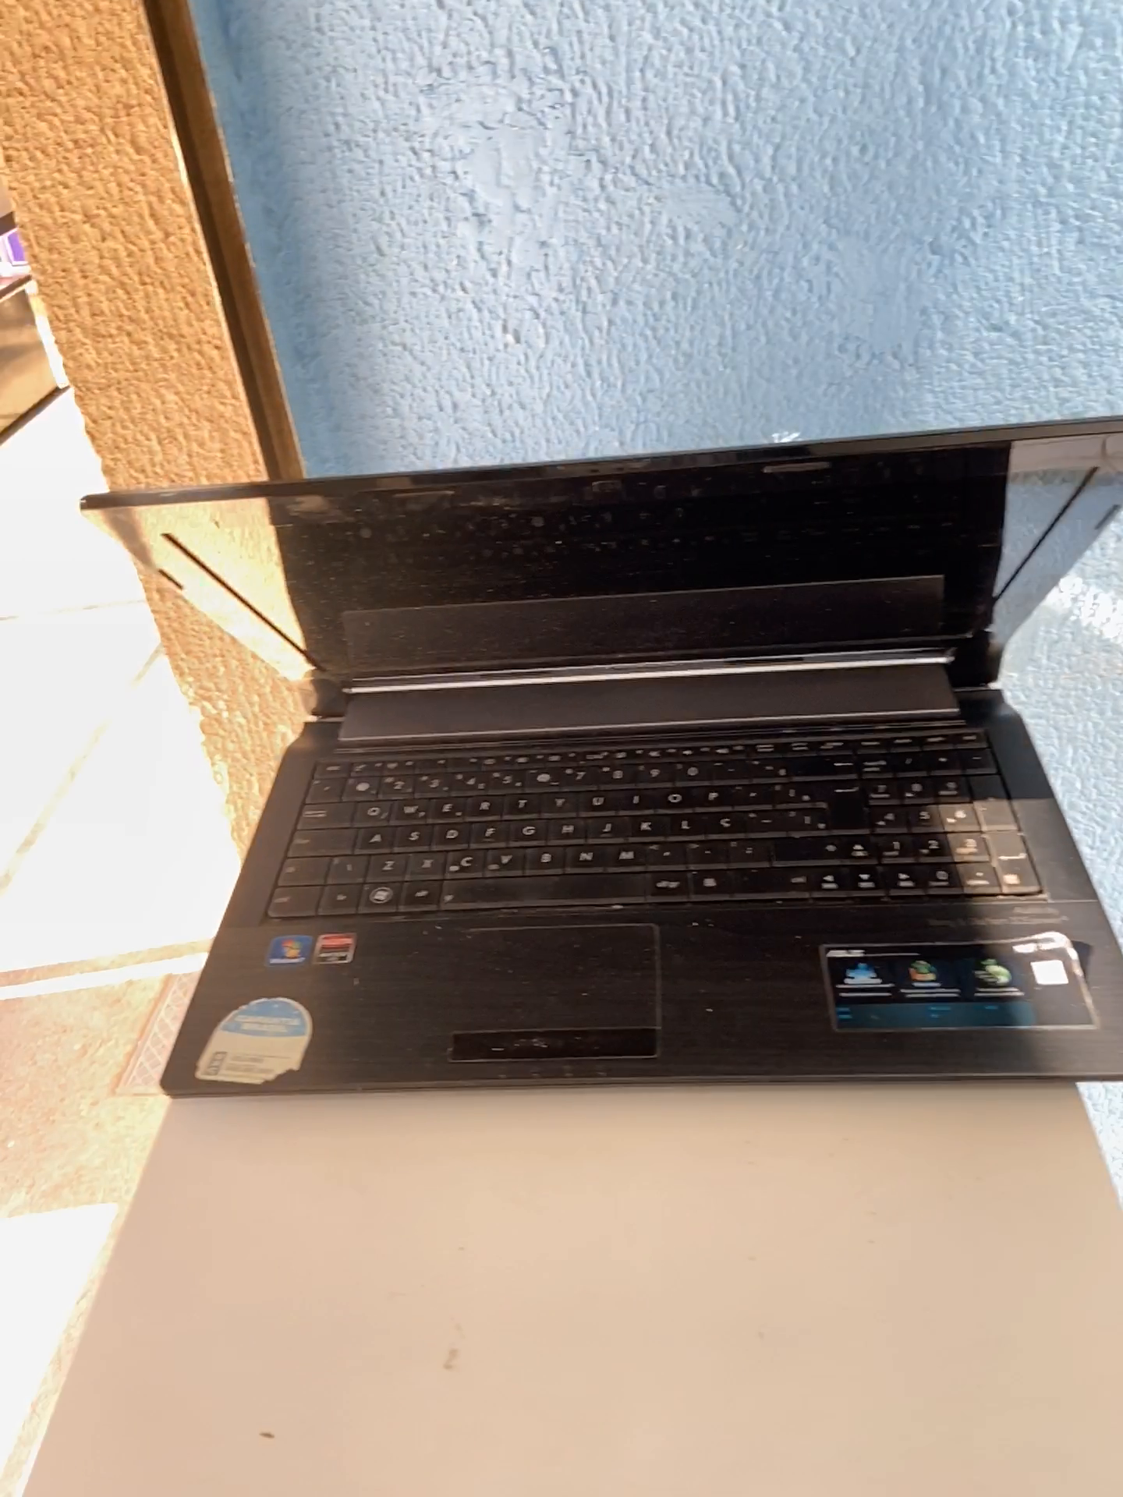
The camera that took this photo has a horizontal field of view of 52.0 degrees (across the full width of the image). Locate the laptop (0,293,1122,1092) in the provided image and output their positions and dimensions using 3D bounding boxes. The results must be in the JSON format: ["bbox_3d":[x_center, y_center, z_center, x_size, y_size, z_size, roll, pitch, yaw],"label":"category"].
[{"bbox_3d":[0.030,-0.032,0.482,0.387,0.208,0.256,-2,36,6],"label":"laptop"}]
